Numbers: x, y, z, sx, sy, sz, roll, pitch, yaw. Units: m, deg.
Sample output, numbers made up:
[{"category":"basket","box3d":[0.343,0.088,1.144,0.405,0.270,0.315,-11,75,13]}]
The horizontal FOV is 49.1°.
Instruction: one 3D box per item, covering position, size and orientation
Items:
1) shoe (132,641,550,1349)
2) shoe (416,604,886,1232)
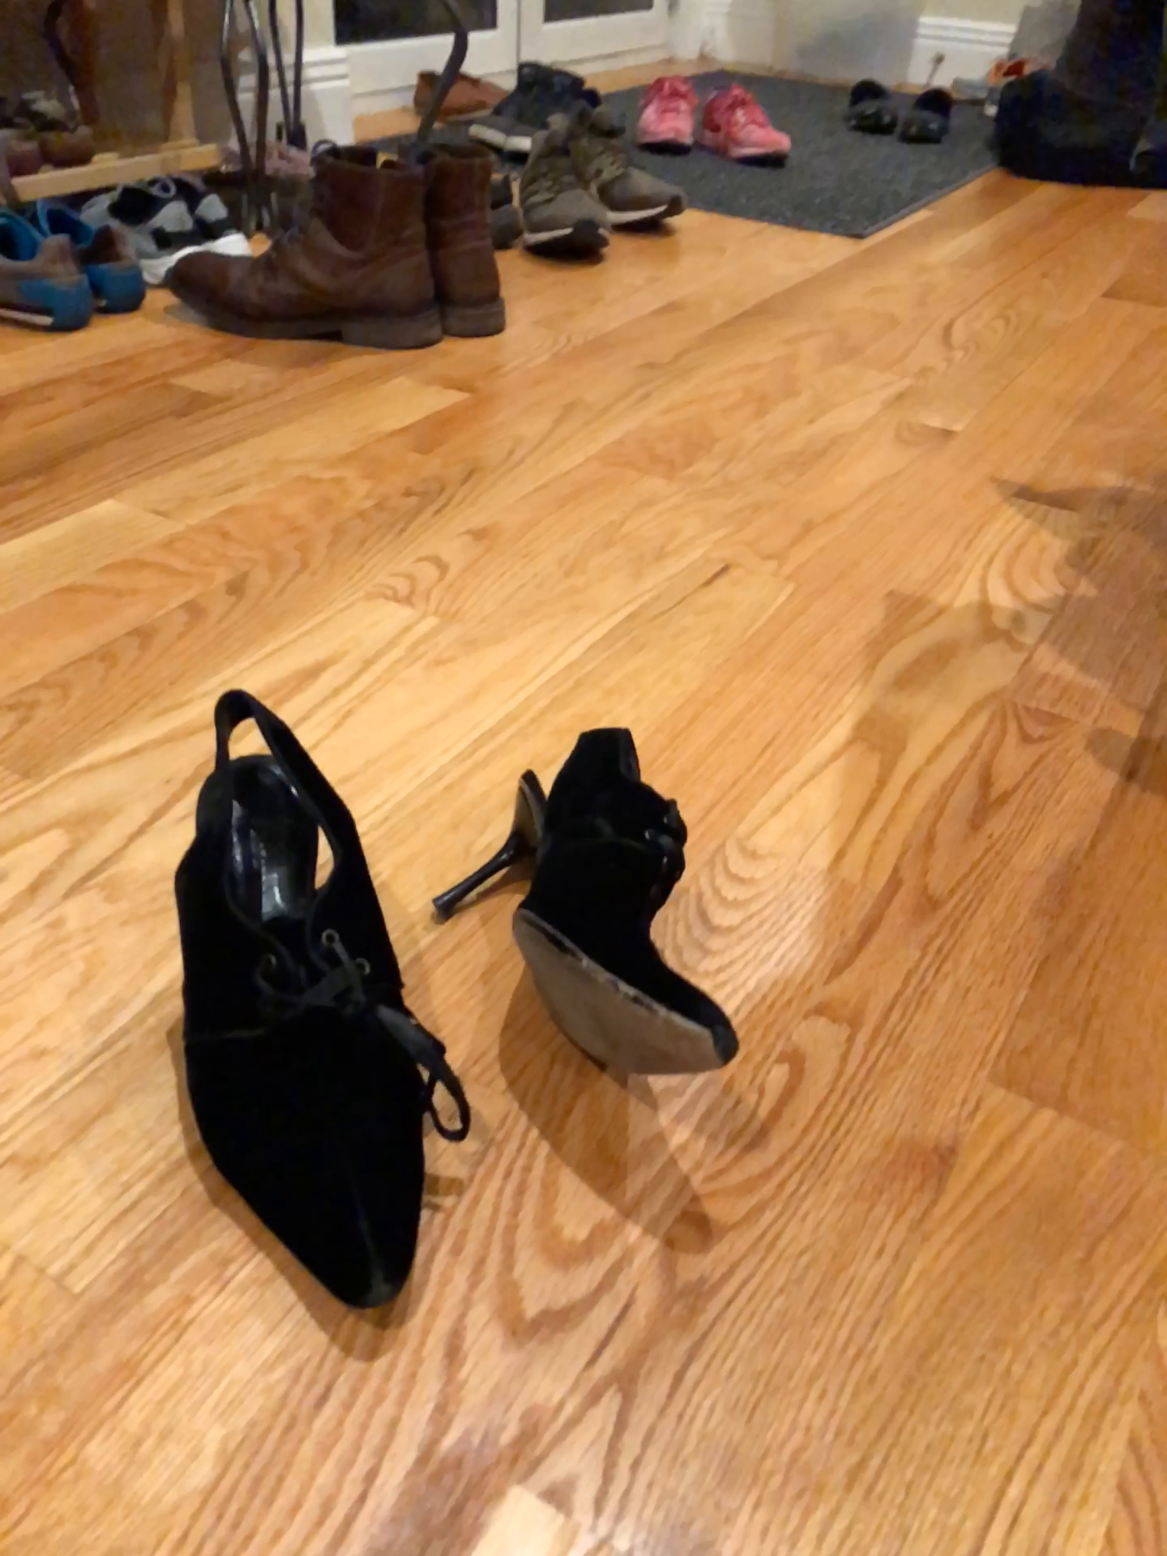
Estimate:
[{"category":"shoe","box3d":[-0.106,0.064,0.504,0.107,0.117,0.253,-9,37,-18]},{"category":"shoe","box3d":[0.009,0.038,0.534,0.118,0.106,0.253,-7,36,-13]}]
